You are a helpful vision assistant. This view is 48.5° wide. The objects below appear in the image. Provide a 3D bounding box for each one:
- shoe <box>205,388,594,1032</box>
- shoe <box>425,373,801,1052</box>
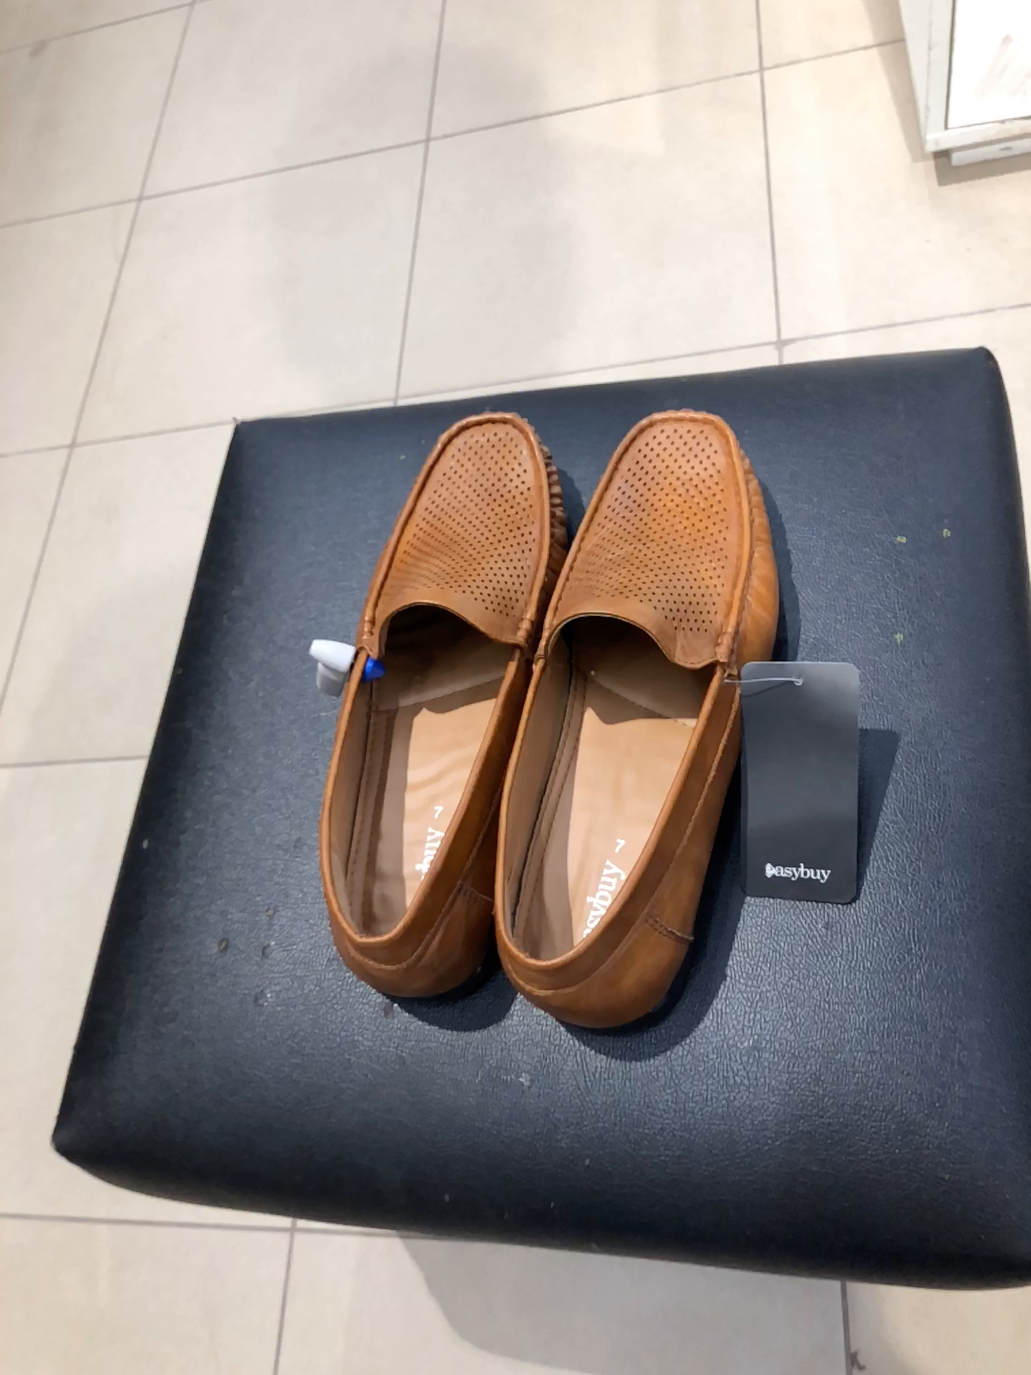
[{"bbox_3d":[-0.036,0.006,0.493,0.097,0.096,0.253,0,64,17],"label":"shoe"},{"bbox_3d":[0.052,0.004,0.469,0.097,0.096,0.253,4,65,19],"label":"shoe"}]
